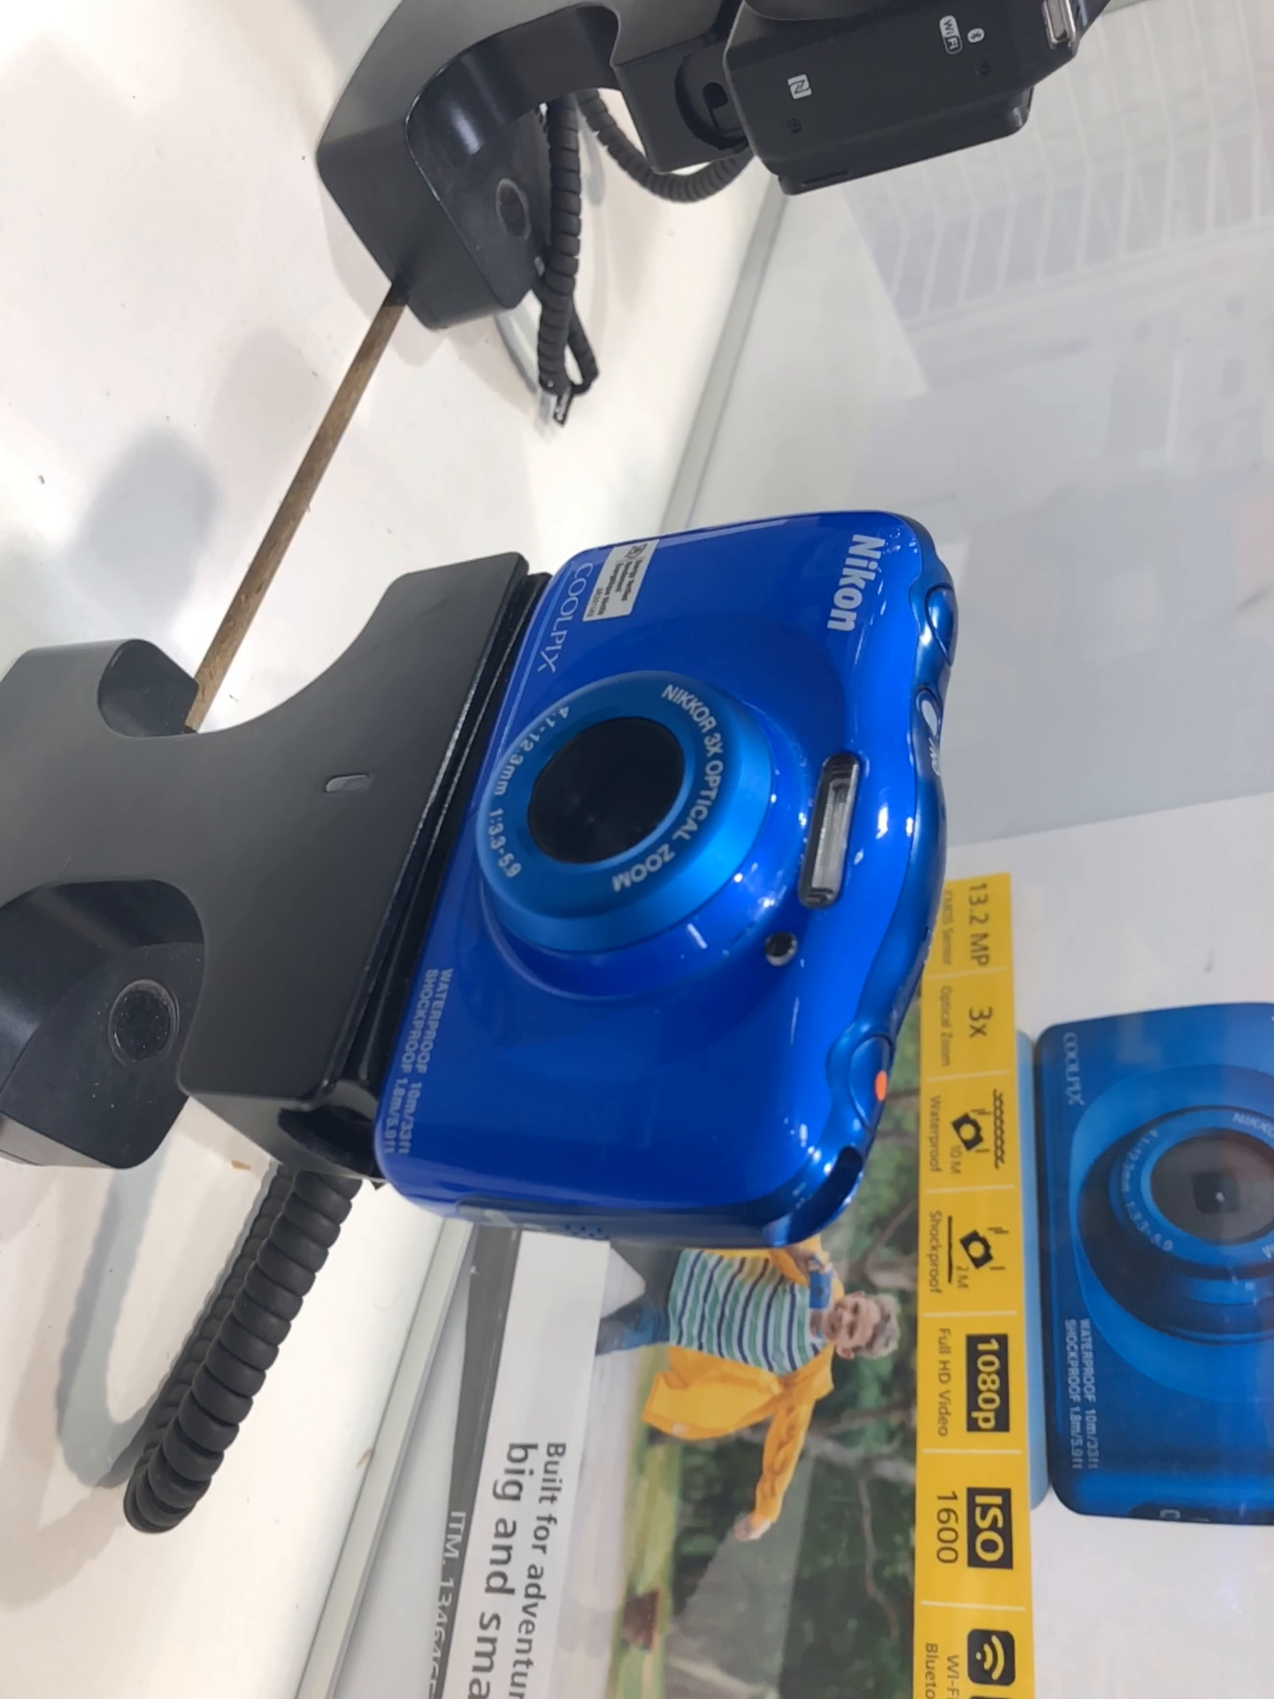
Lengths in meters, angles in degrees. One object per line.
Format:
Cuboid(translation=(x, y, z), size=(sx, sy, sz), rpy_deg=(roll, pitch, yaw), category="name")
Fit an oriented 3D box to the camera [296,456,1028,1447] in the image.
Cuboid(translation=(0.013, 0.011, 0.215), size=(0.050, 0.070, 0.130), rpy_deg=(51, 44, -46), category="camera")
